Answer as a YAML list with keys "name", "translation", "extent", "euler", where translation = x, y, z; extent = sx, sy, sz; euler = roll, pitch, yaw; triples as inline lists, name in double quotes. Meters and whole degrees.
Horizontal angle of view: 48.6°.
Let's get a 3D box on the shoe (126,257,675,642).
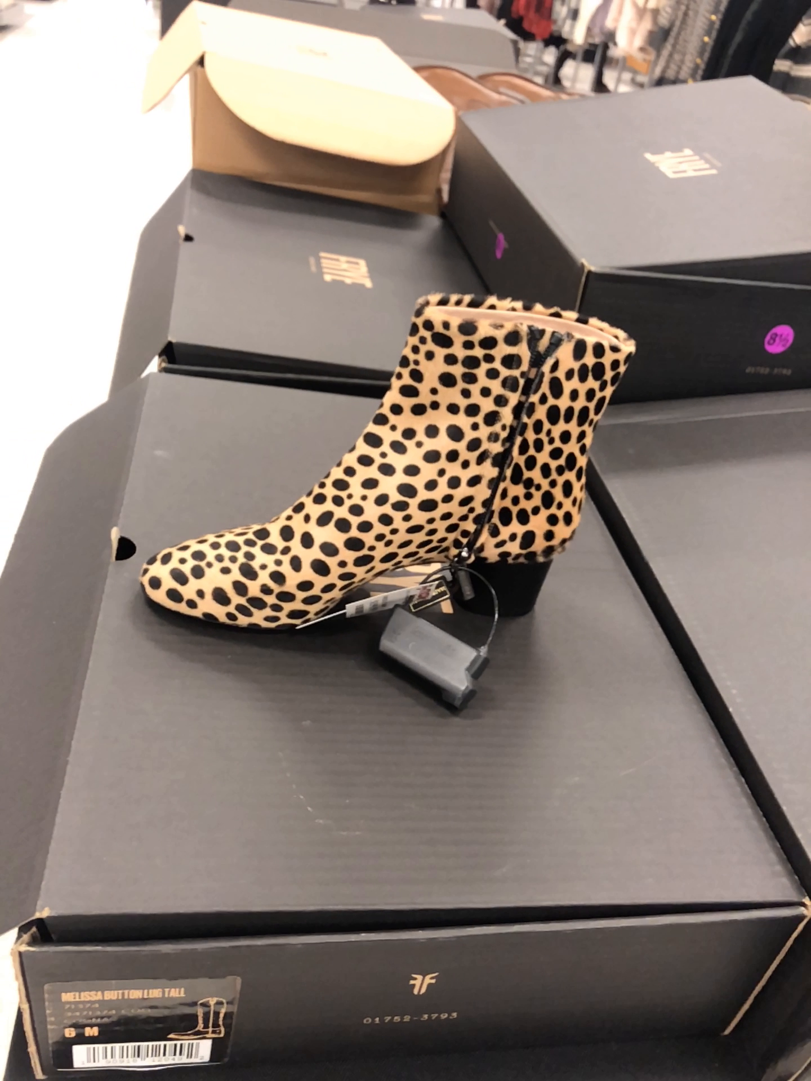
- name: "shoe"
  translation: [-0.013, -0.042, 0.482]
  extent: [0.248, 0.164, 0.093]
  euler: [3, 35, -11]
